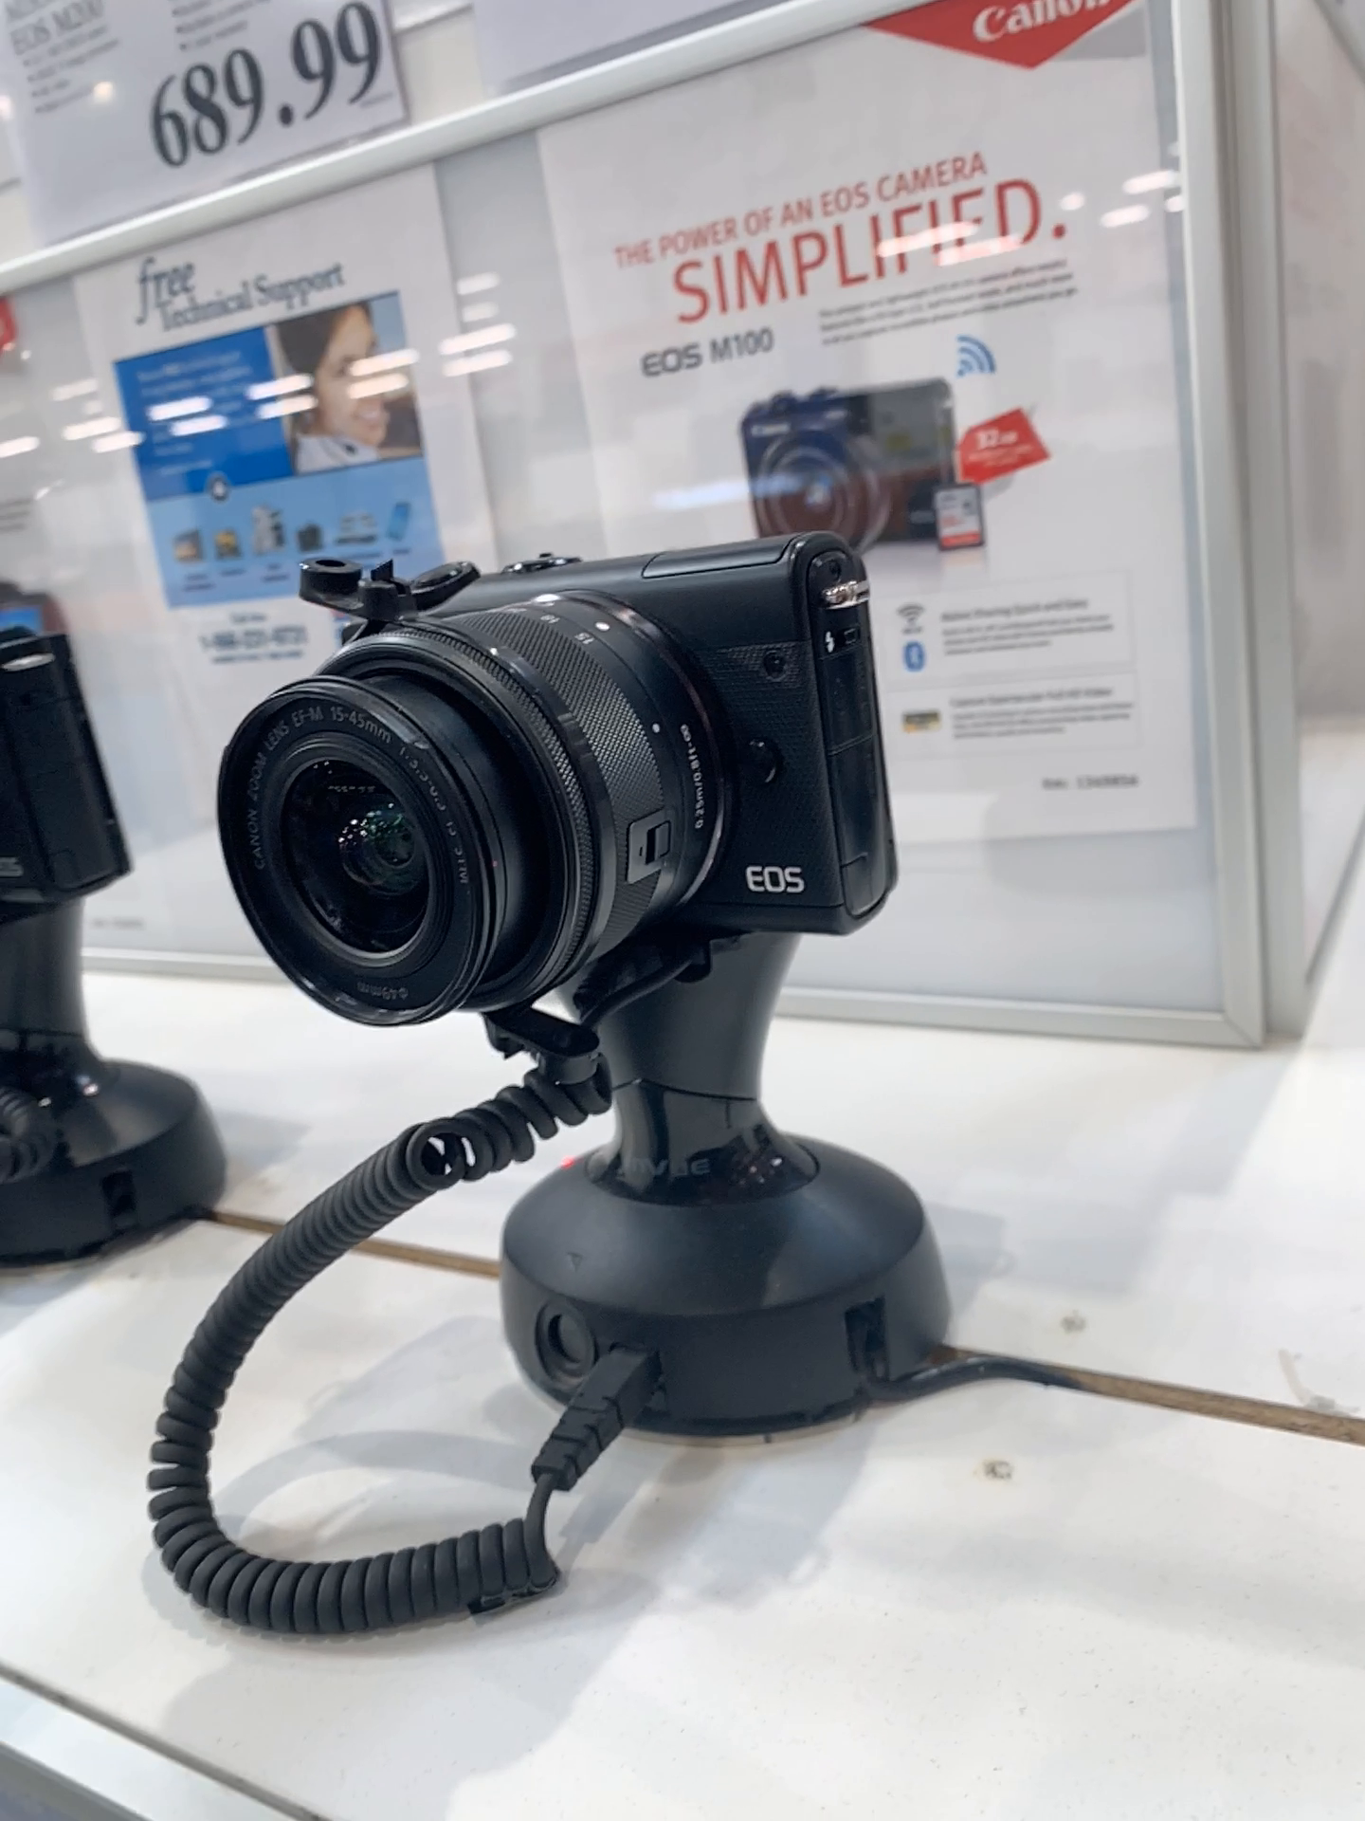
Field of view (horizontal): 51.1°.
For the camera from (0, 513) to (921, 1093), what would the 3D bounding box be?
[{"bbox_3d":[-0.034,-0.023,0.234,0.110,0.066,0.093,3,15,35],"label":"camera"}]
